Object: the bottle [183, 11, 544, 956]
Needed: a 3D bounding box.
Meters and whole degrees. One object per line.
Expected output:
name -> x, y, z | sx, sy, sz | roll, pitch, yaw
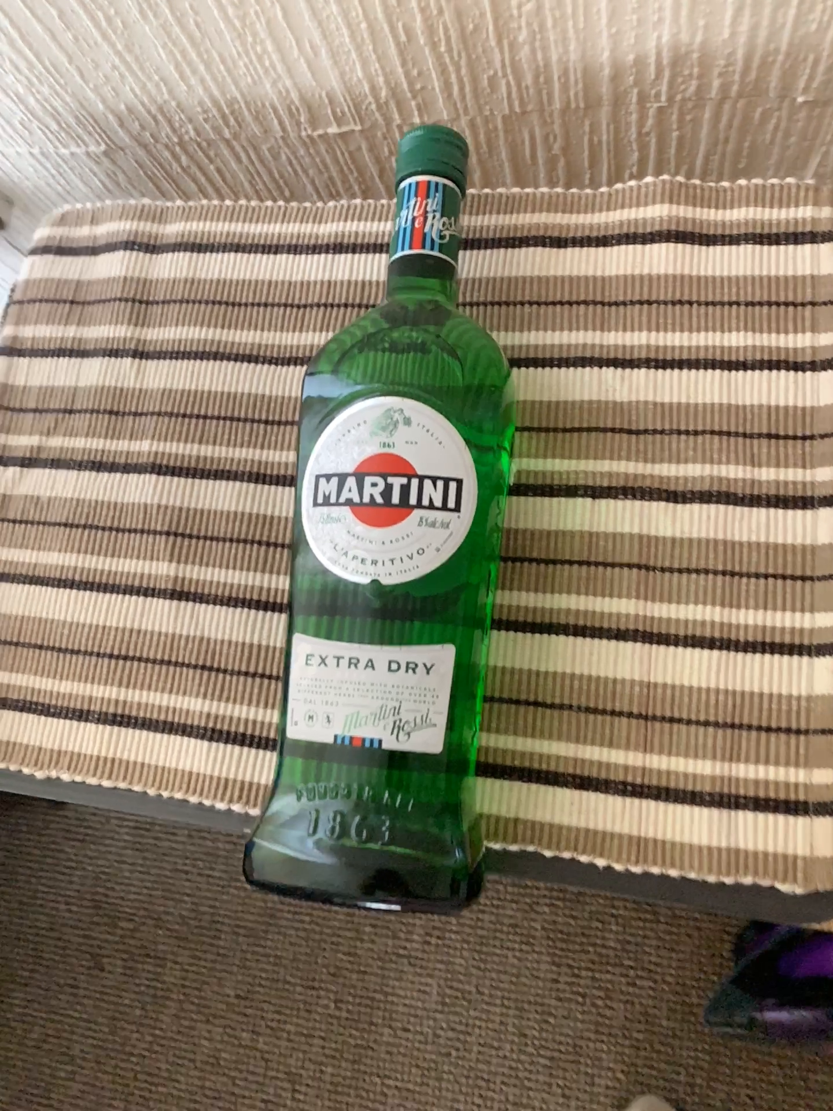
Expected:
bottle -> -0.010, -0.034, 0.326 | 0.090, 0.070, 0.320 | 3, 81, 14
